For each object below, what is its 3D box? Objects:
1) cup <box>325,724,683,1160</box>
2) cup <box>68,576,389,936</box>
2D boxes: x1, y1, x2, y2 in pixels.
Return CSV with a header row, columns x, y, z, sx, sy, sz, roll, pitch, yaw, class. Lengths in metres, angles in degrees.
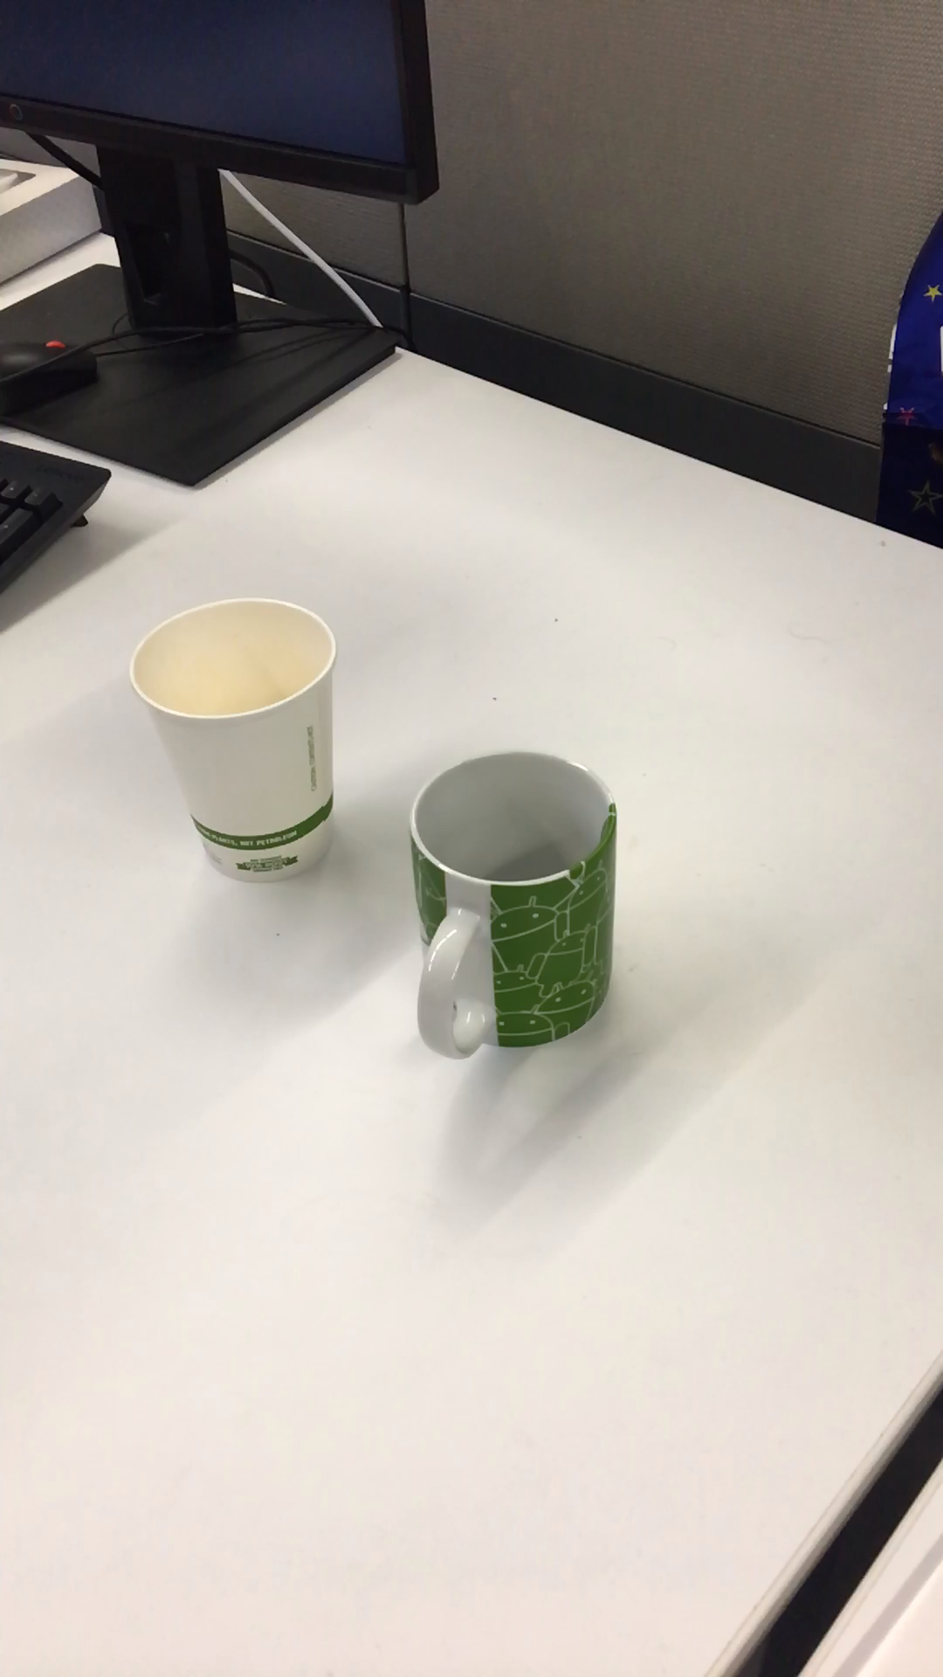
x,y,z,sx,sy,sz,roll,pitch,yaw,class
0.017,0.036,0.538,0.090,0.090,0.120,15,46,19,cup
-0.101,-0.037,0.616,0.090,0.110,0.090,-2,43,2,cup
